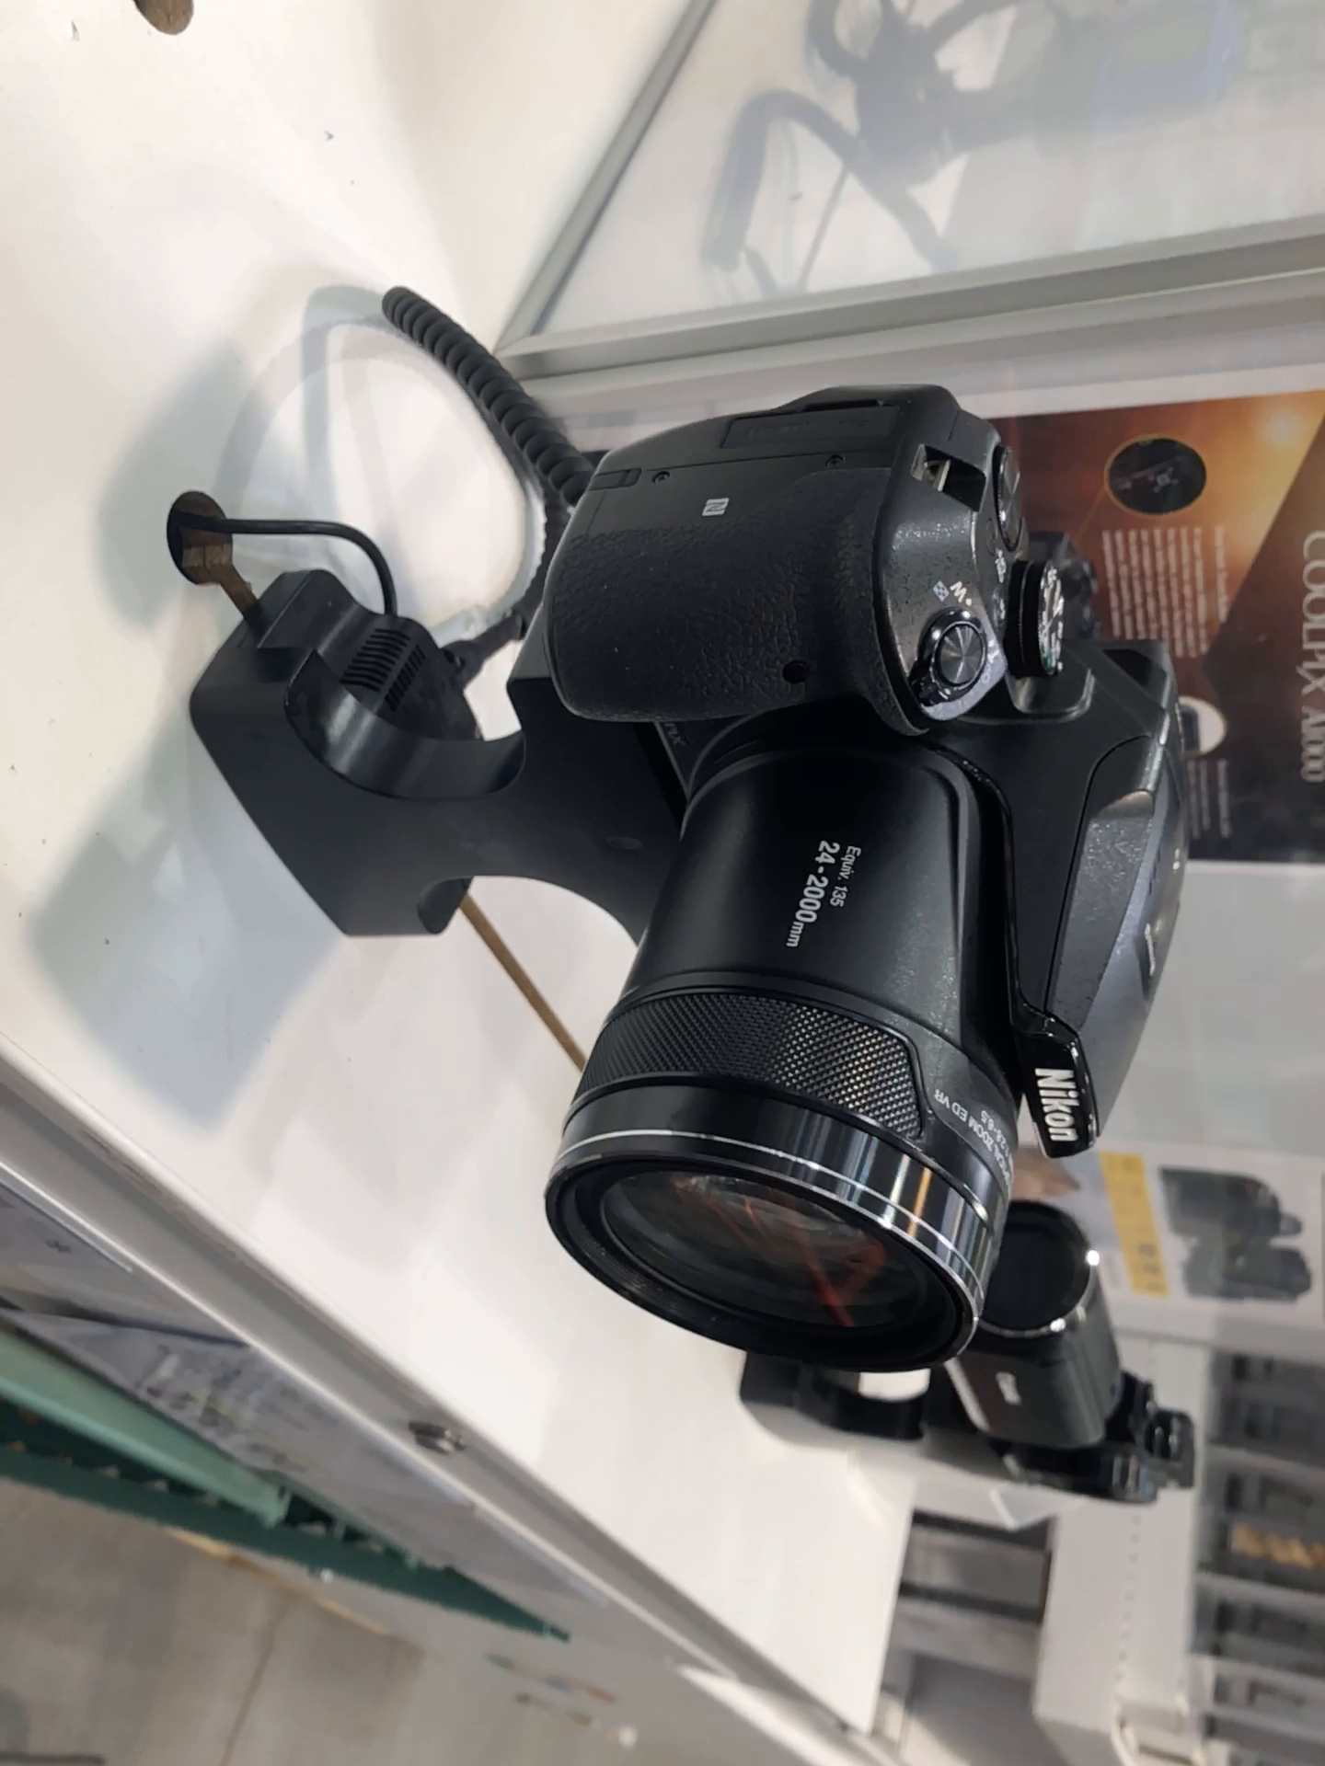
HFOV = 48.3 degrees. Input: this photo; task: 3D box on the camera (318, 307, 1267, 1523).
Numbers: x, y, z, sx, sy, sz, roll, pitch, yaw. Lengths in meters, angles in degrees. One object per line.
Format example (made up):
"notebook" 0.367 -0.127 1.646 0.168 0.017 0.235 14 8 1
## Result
"camera" 0.046 0.006 0.271 0.140 0.109 0.150 65 36 -44
